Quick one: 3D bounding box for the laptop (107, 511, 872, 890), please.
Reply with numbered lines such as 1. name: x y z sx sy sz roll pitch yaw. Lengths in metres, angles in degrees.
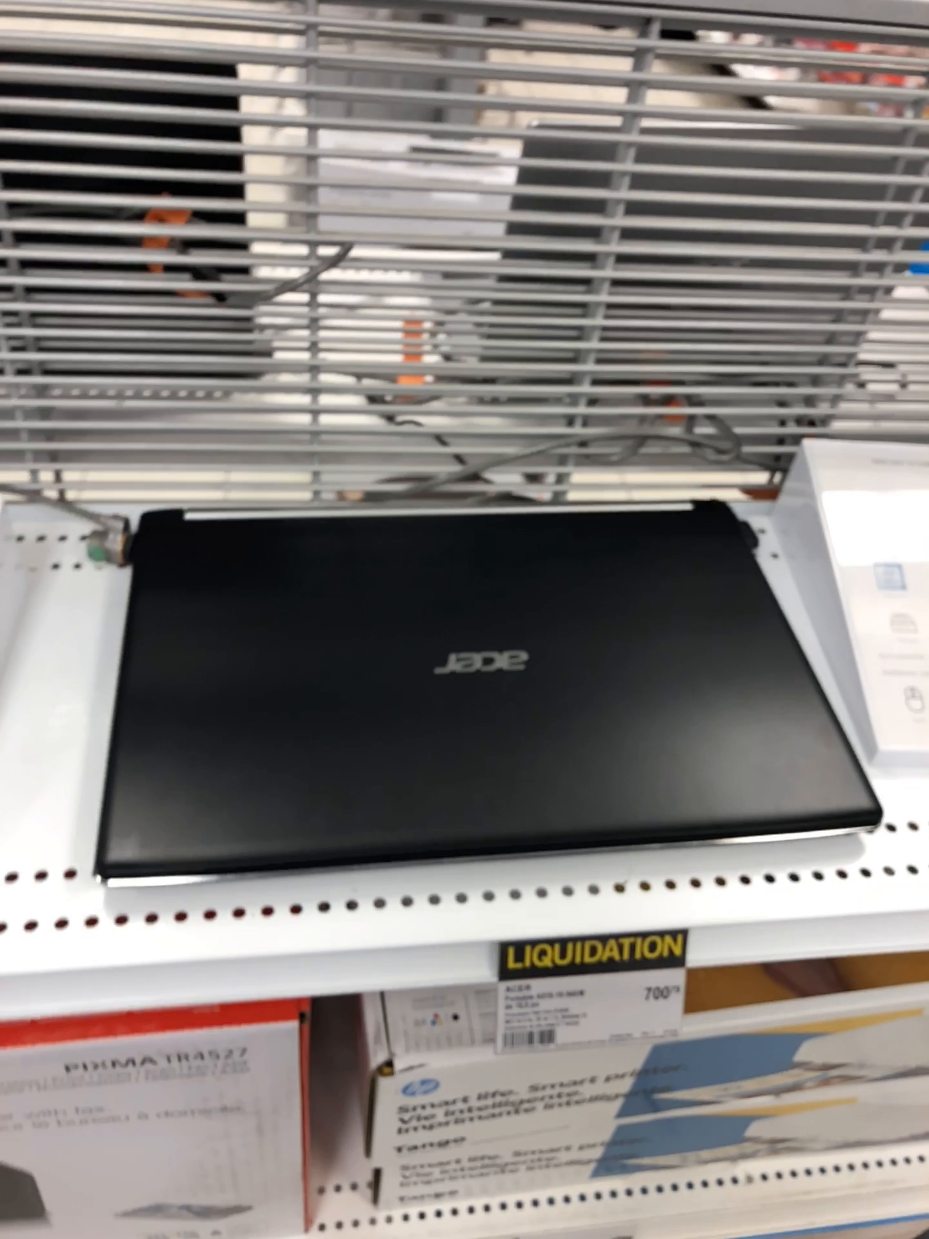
1. laptop: 0.009 0.024 0.559 0.361 0.012 0.228 -2 47 -10
